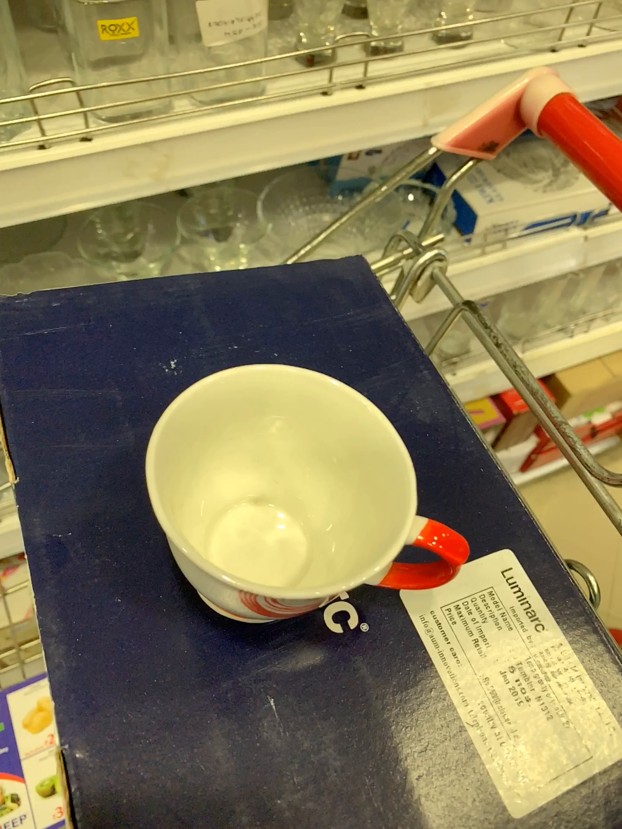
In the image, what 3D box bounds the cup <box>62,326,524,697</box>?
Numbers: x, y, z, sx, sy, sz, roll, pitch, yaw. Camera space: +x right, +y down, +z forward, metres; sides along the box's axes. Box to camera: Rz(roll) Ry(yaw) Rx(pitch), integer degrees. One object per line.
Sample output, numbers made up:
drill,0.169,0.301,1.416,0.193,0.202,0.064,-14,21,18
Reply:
cup,-0.003,0.028,0.177,0.100,0.050,0.070,11,56,-6
